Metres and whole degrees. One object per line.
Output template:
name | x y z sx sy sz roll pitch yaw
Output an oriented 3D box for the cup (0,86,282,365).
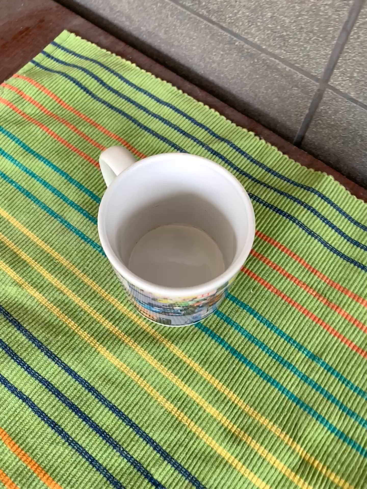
cup | -0.026 -0.005 0.242 0.080 0.100 0.130 -40 75 -16
